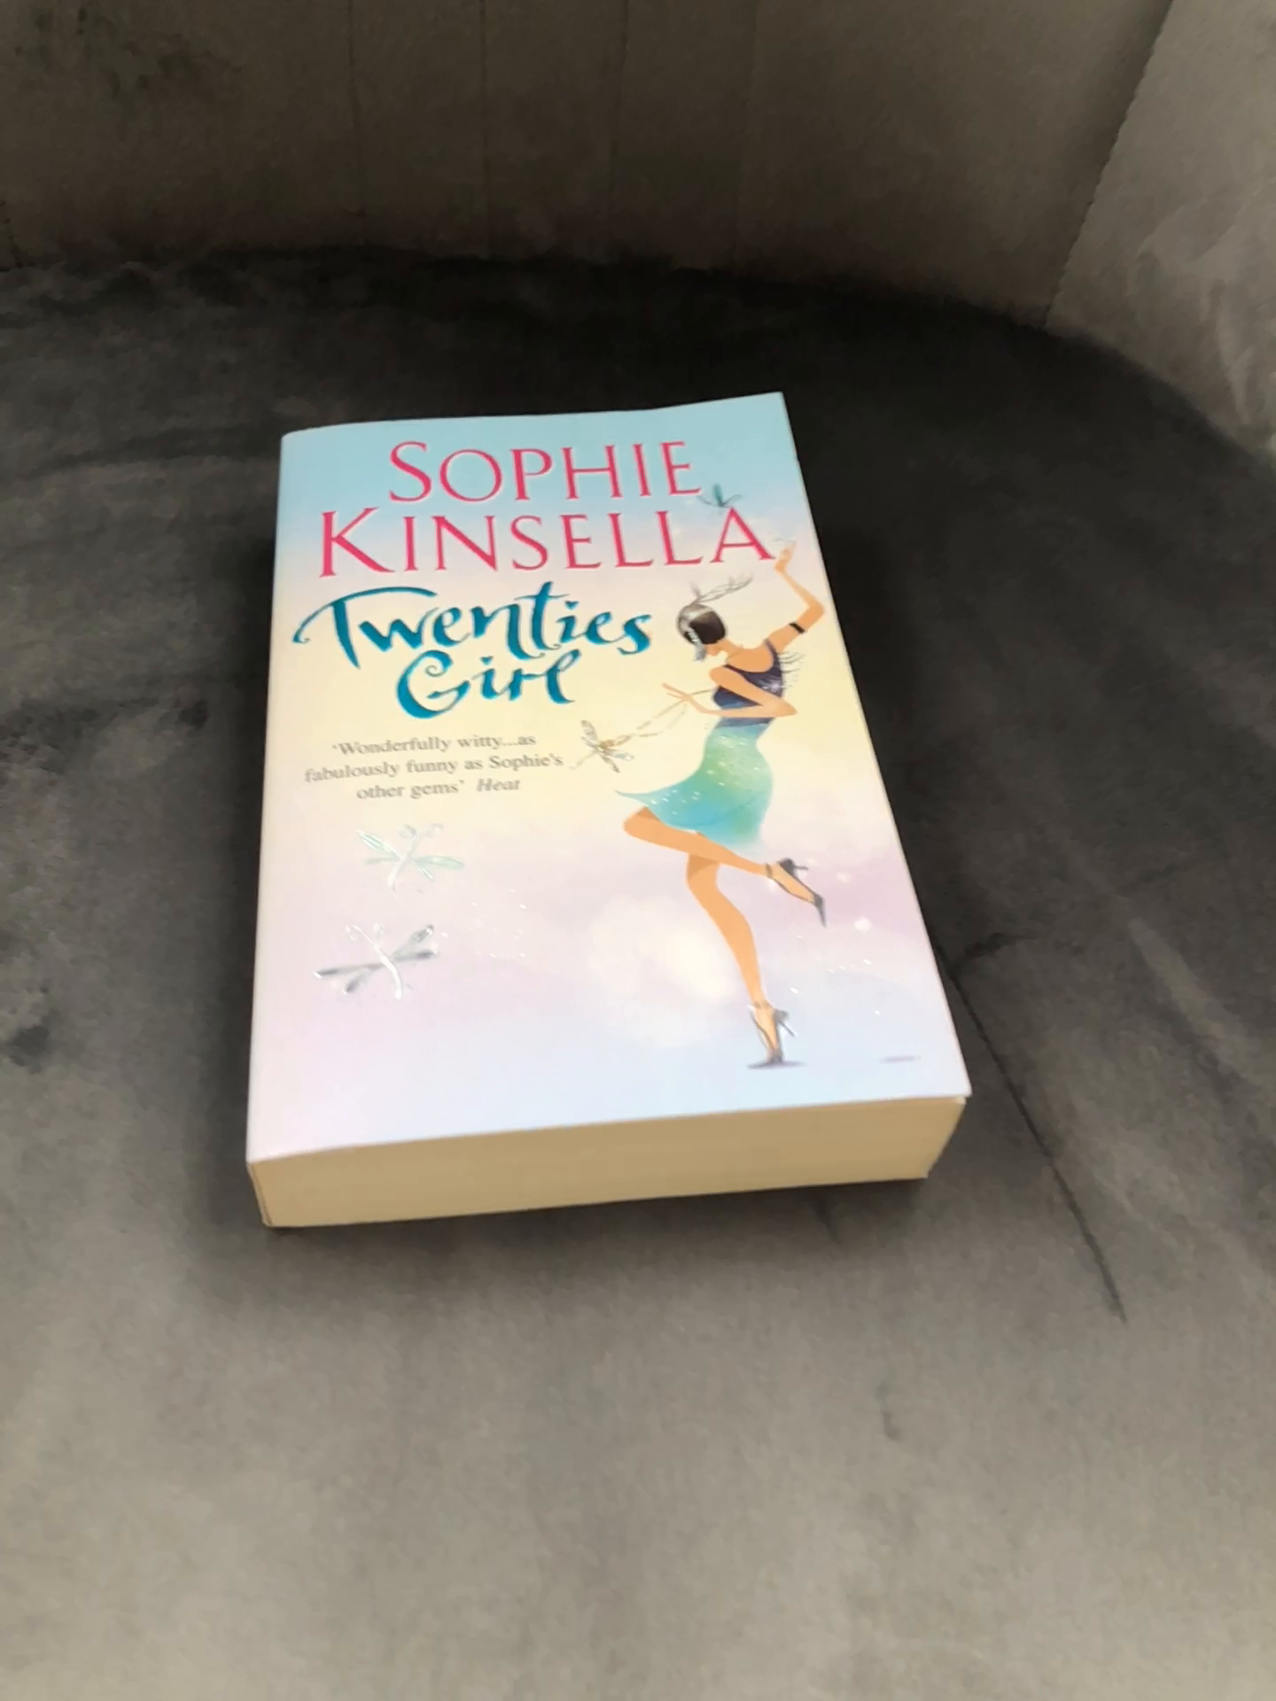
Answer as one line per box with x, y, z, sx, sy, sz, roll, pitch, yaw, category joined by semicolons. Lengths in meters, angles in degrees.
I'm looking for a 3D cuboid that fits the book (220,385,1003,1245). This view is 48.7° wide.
-0.016;-0.023;0.311;0.132;0.043;0.201;-3;53;-8;book
